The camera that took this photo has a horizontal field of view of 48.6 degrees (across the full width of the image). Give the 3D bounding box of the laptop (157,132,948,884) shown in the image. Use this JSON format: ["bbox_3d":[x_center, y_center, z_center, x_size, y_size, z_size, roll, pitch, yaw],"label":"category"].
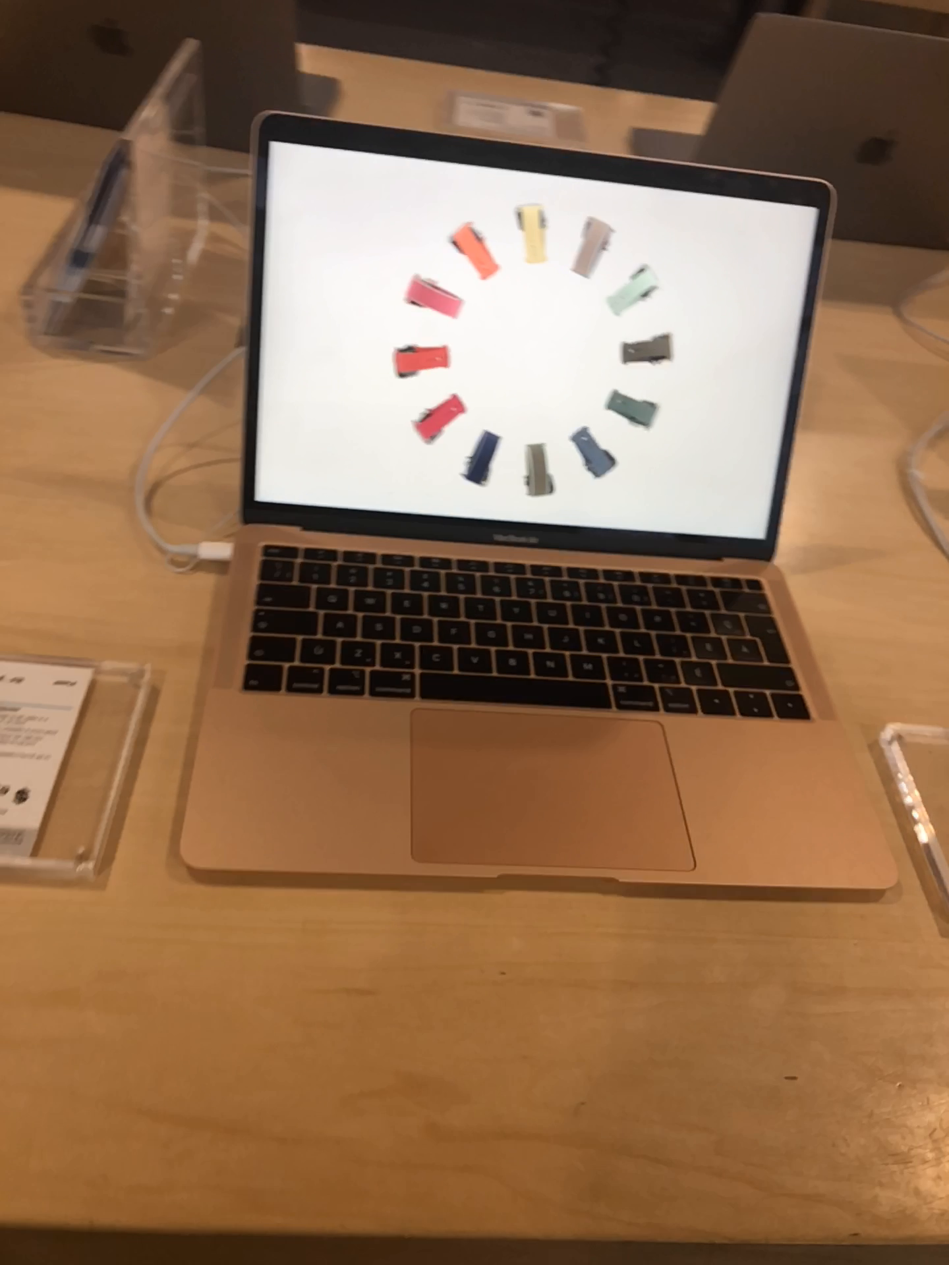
[{"bbox_3d":[0.036,-0.067,0.474,0.289,0.167,0.299,4,43,-8],"label":"laptop"}]
